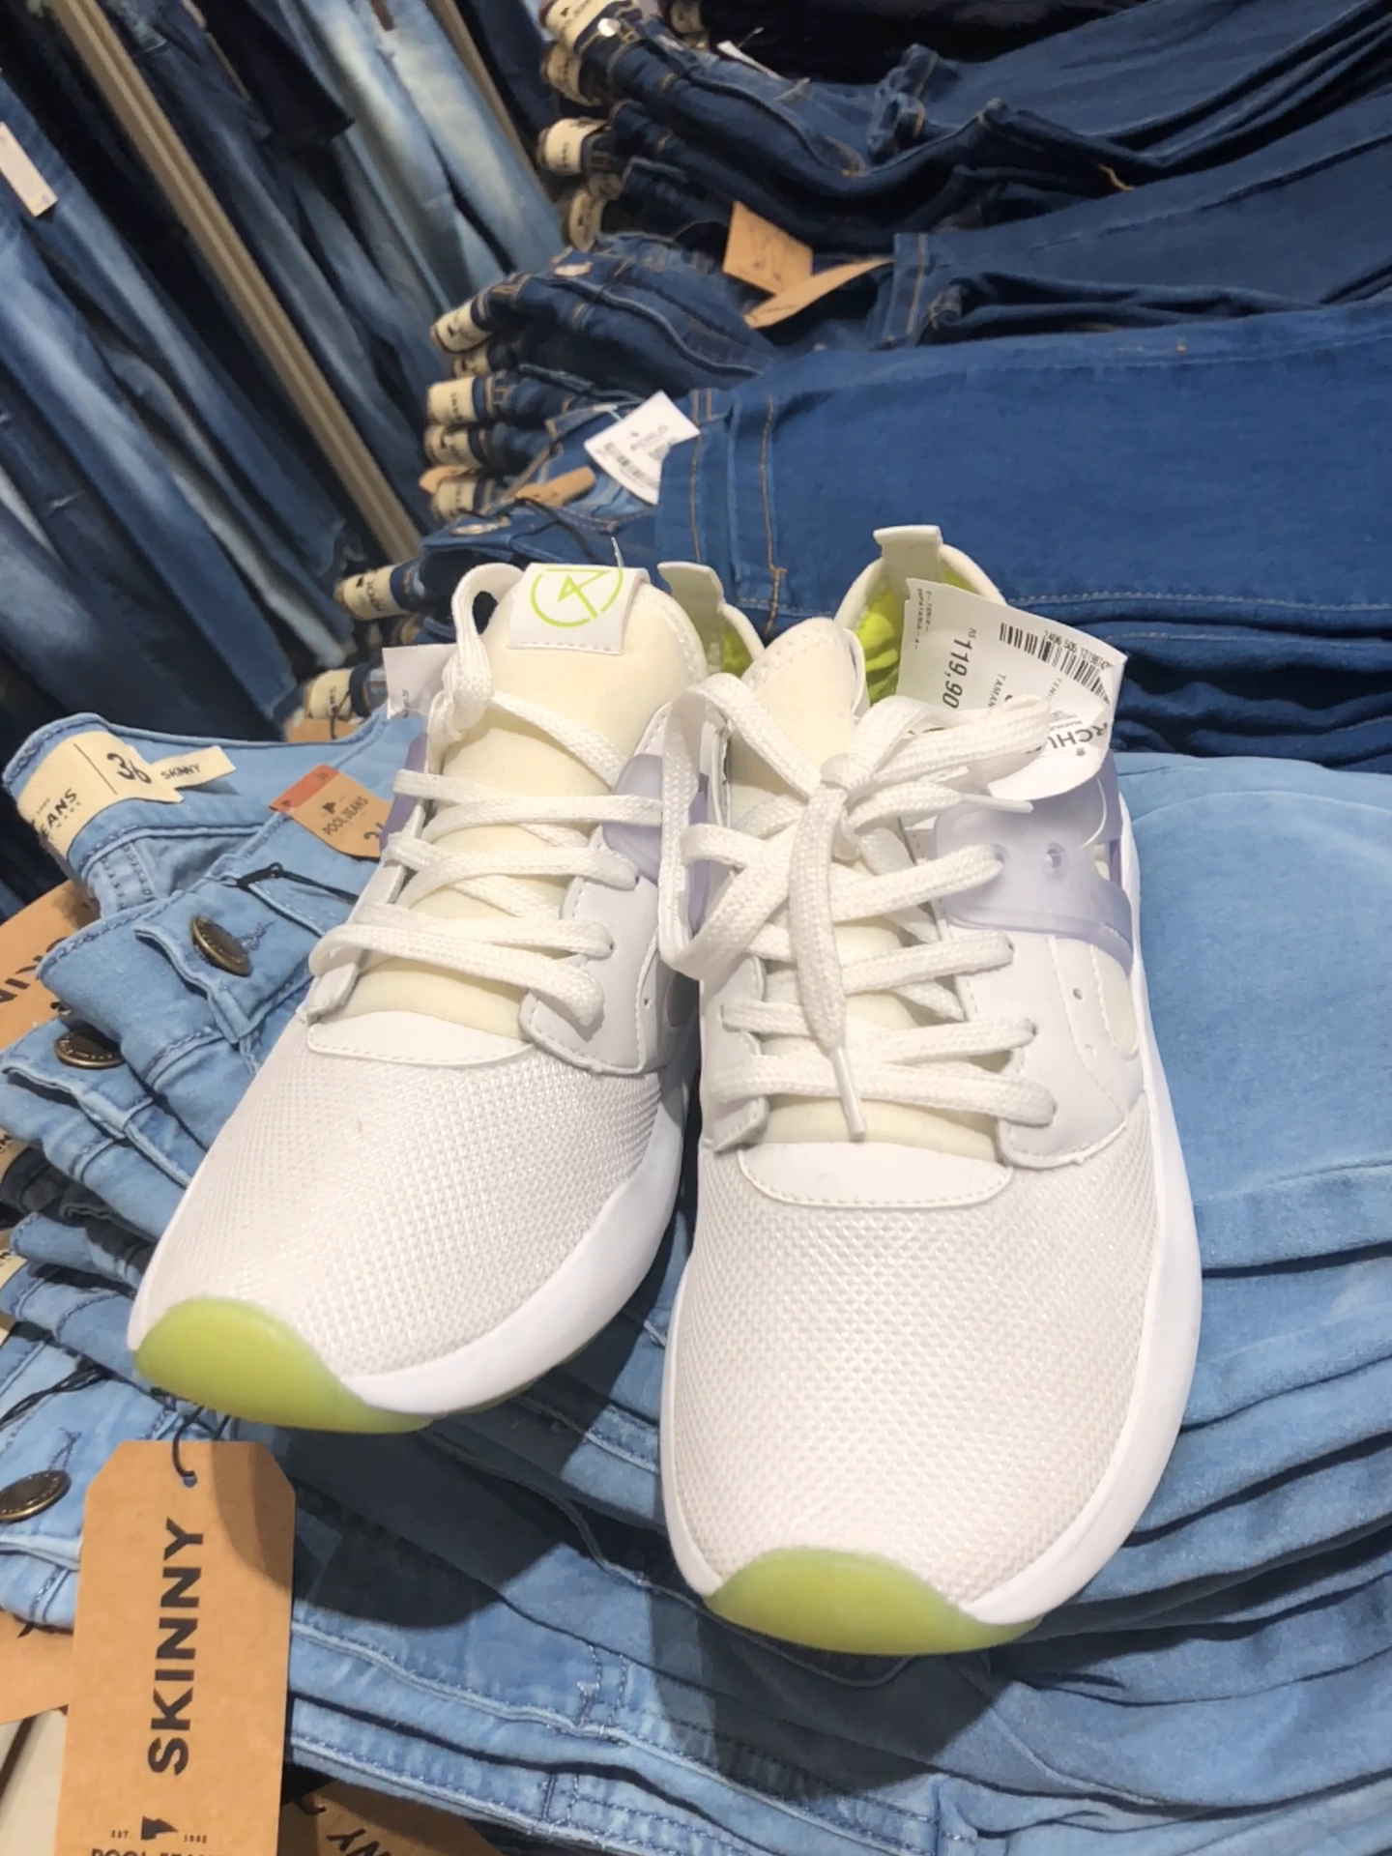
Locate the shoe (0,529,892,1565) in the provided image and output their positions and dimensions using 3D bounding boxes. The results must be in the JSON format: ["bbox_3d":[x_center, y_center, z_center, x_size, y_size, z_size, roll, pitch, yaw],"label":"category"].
[{"bbox_3d":[-0.040,-0.008,0.360,0.110,0.119,0.261,8,26,18],"label":"shoe"}]

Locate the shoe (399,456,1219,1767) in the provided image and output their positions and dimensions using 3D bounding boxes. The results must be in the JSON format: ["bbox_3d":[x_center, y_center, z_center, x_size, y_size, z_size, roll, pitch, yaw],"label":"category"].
[{"bbox_3d":[0.041,0.015,0.314,0.100,0.089,0.251,-7,42,20],"label":"shoe"}]
